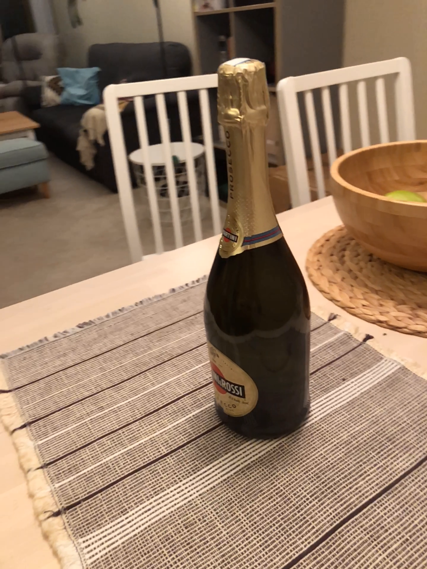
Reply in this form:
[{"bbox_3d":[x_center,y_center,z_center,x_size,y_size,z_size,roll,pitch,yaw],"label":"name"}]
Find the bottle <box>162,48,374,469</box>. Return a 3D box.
[{"bbox_3d":[0.042,-0.013,0.379,0.100,0.308,0.100,-4,29,2],"label":"bottle"}]
